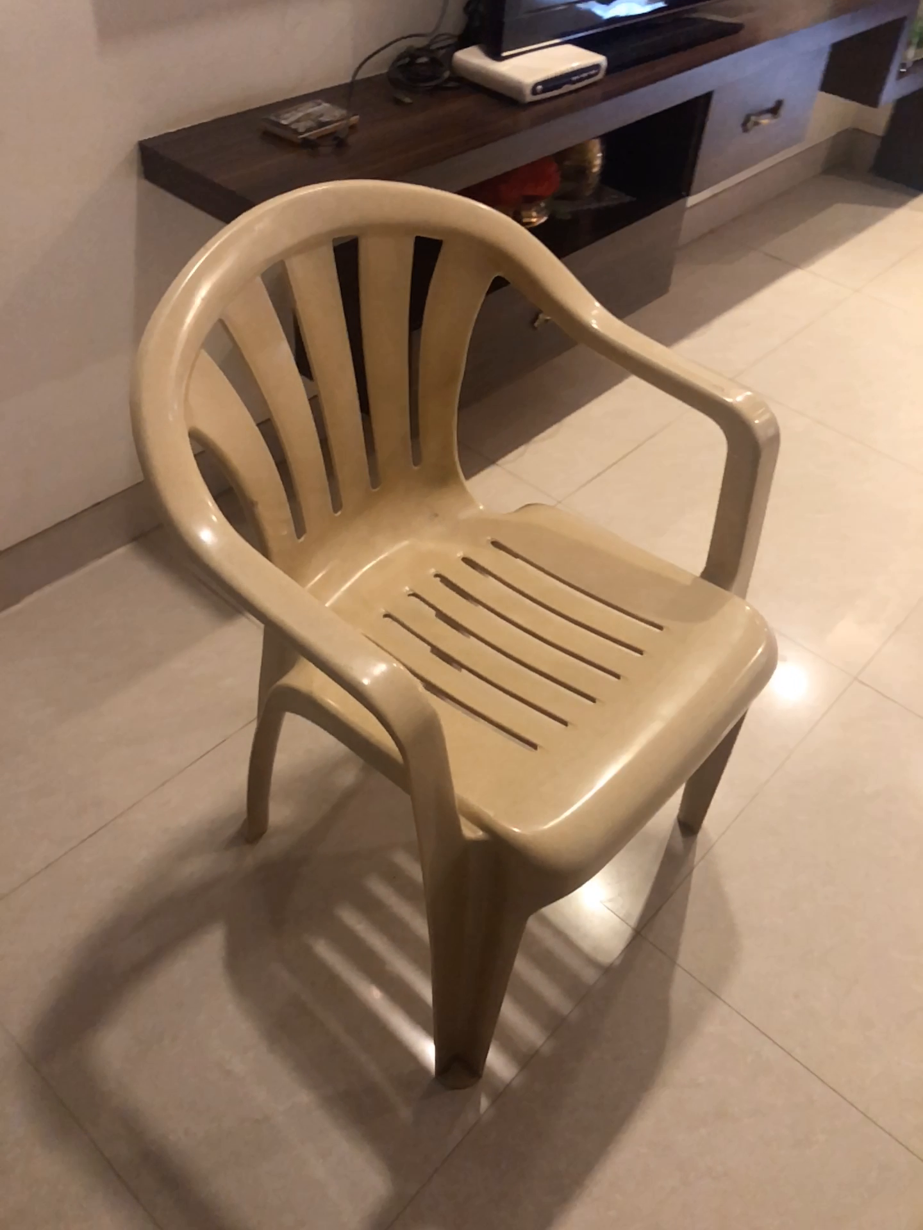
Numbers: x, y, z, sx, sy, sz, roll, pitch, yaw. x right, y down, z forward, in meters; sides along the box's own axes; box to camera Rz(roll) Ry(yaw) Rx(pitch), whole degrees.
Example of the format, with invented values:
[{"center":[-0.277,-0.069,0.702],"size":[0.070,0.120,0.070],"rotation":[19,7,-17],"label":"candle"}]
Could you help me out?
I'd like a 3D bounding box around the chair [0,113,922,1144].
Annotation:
[{"center":[0.016,0.008,1.111],"size":[0.592,0.774,0.573],"rotation":[33,52,25],"label":"chair"}]
